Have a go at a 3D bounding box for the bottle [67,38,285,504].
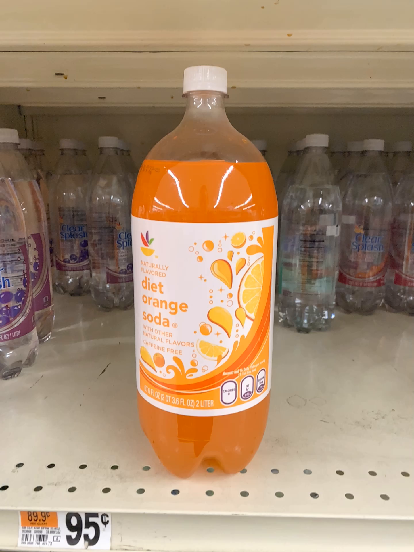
[{"bbox_3d":[-0.010,0.000,0.318,0.120,0.289,0.110,0,15,0],"label":"bottle"}]
